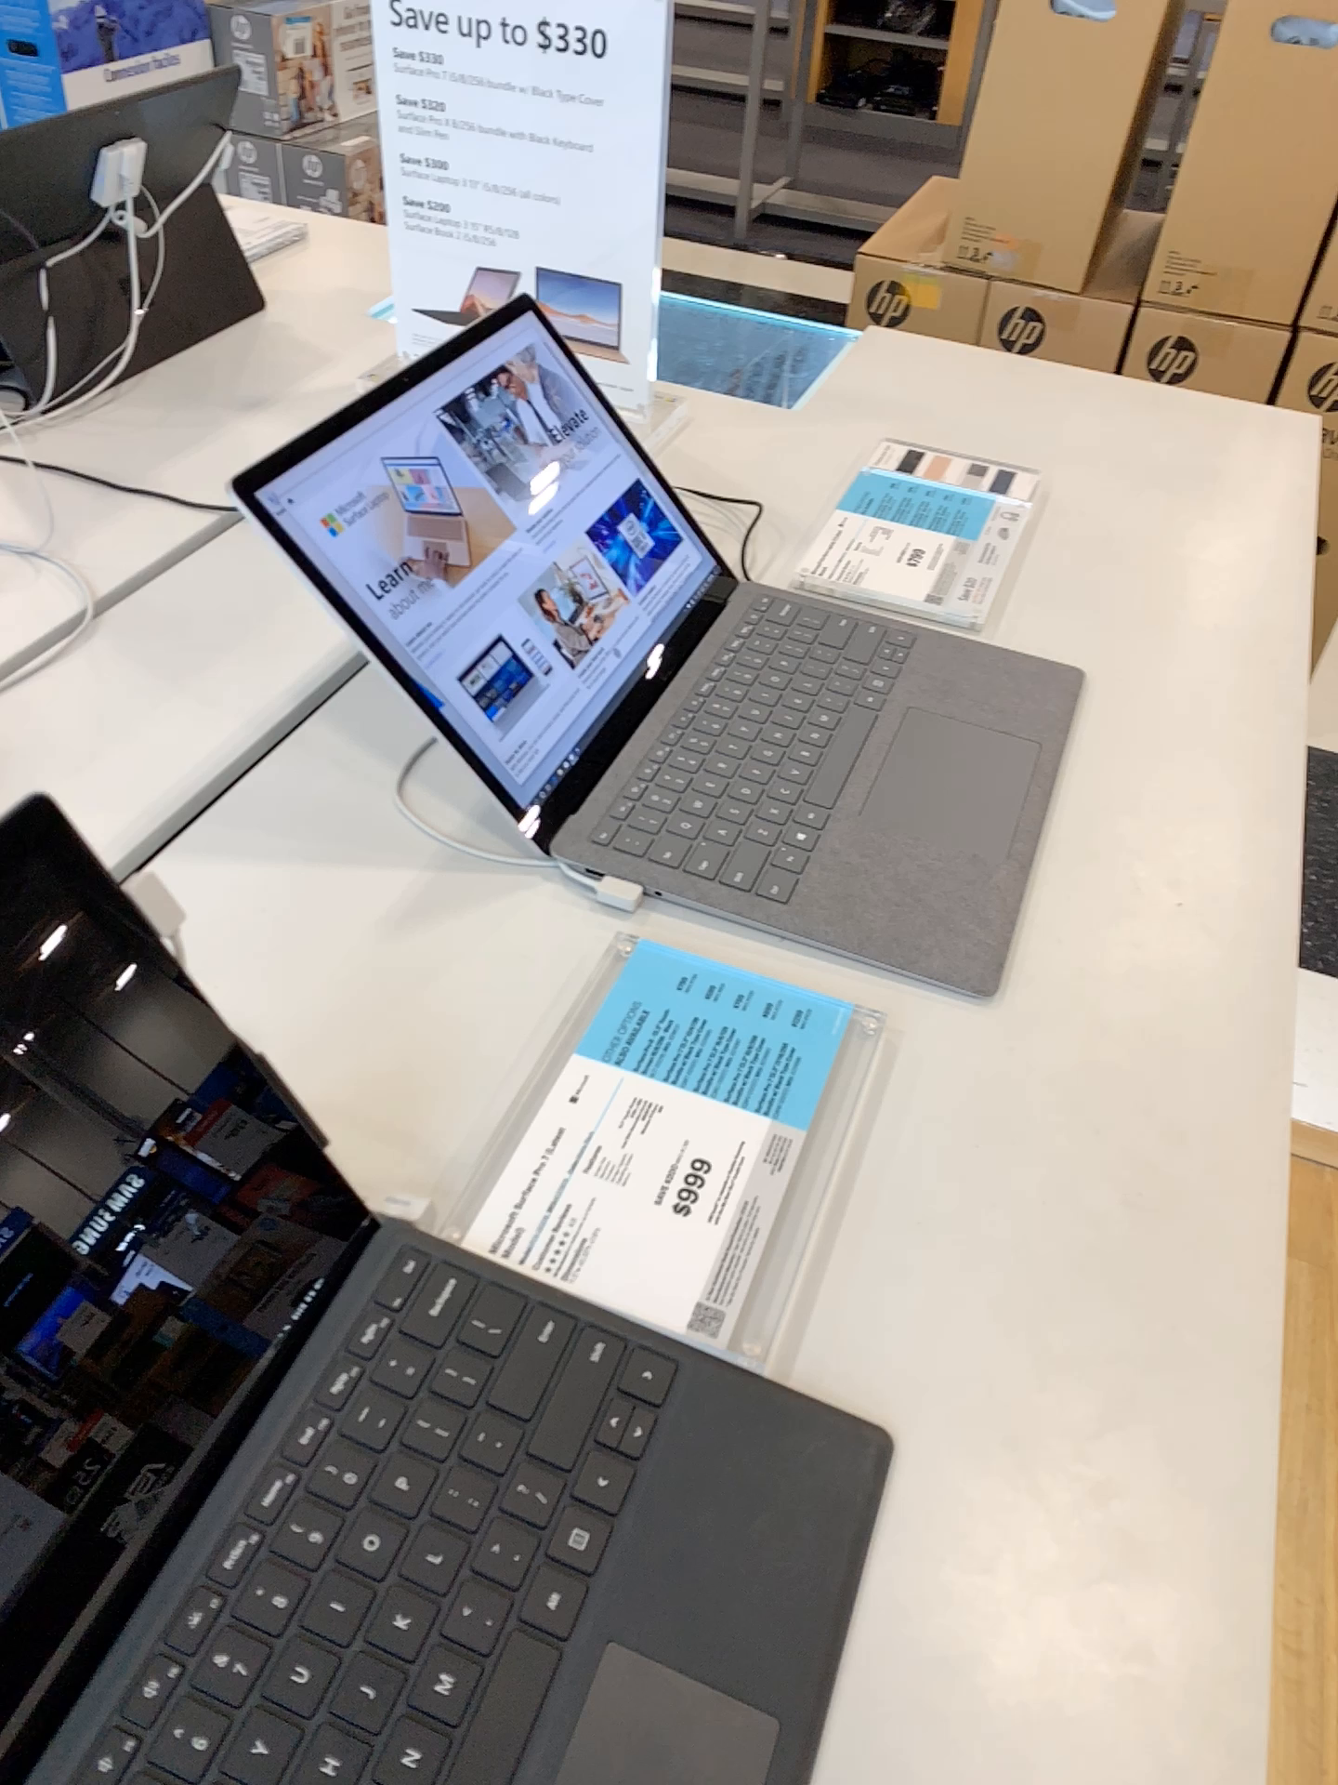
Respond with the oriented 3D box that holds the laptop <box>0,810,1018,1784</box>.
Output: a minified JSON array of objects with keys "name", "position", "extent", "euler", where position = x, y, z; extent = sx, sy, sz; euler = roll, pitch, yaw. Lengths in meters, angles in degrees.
[{"name":"laptop","position":[-0.103,0.159,0.312],"extent":[0.290,0.158,0.290],"euler":[16,41,10]}]

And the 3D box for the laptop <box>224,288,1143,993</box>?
[{"name":"laptop","position":[0.026,-0.157,0.711],"extent":[0.374,0.148,0.297],"euler":[18,42,11]}]
